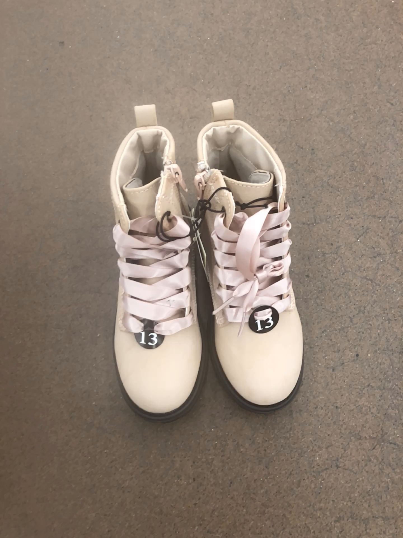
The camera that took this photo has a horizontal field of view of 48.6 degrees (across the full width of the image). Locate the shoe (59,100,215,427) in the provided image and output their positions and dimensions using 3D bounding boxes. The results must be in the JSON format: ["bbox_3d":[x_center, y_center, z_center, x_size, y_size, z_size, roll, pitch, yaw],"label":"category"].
[{"bbox_3d":[-0.040,0.007,0.362,0.090,0.150,0.220,-2,73,0],"label":"shoe"}]

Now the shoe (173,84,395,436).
[{"bbox_3d":[0.045,0.003,0.352,0.090,0.150,0.220,-10,73,-2],"label":"shoe"}]
